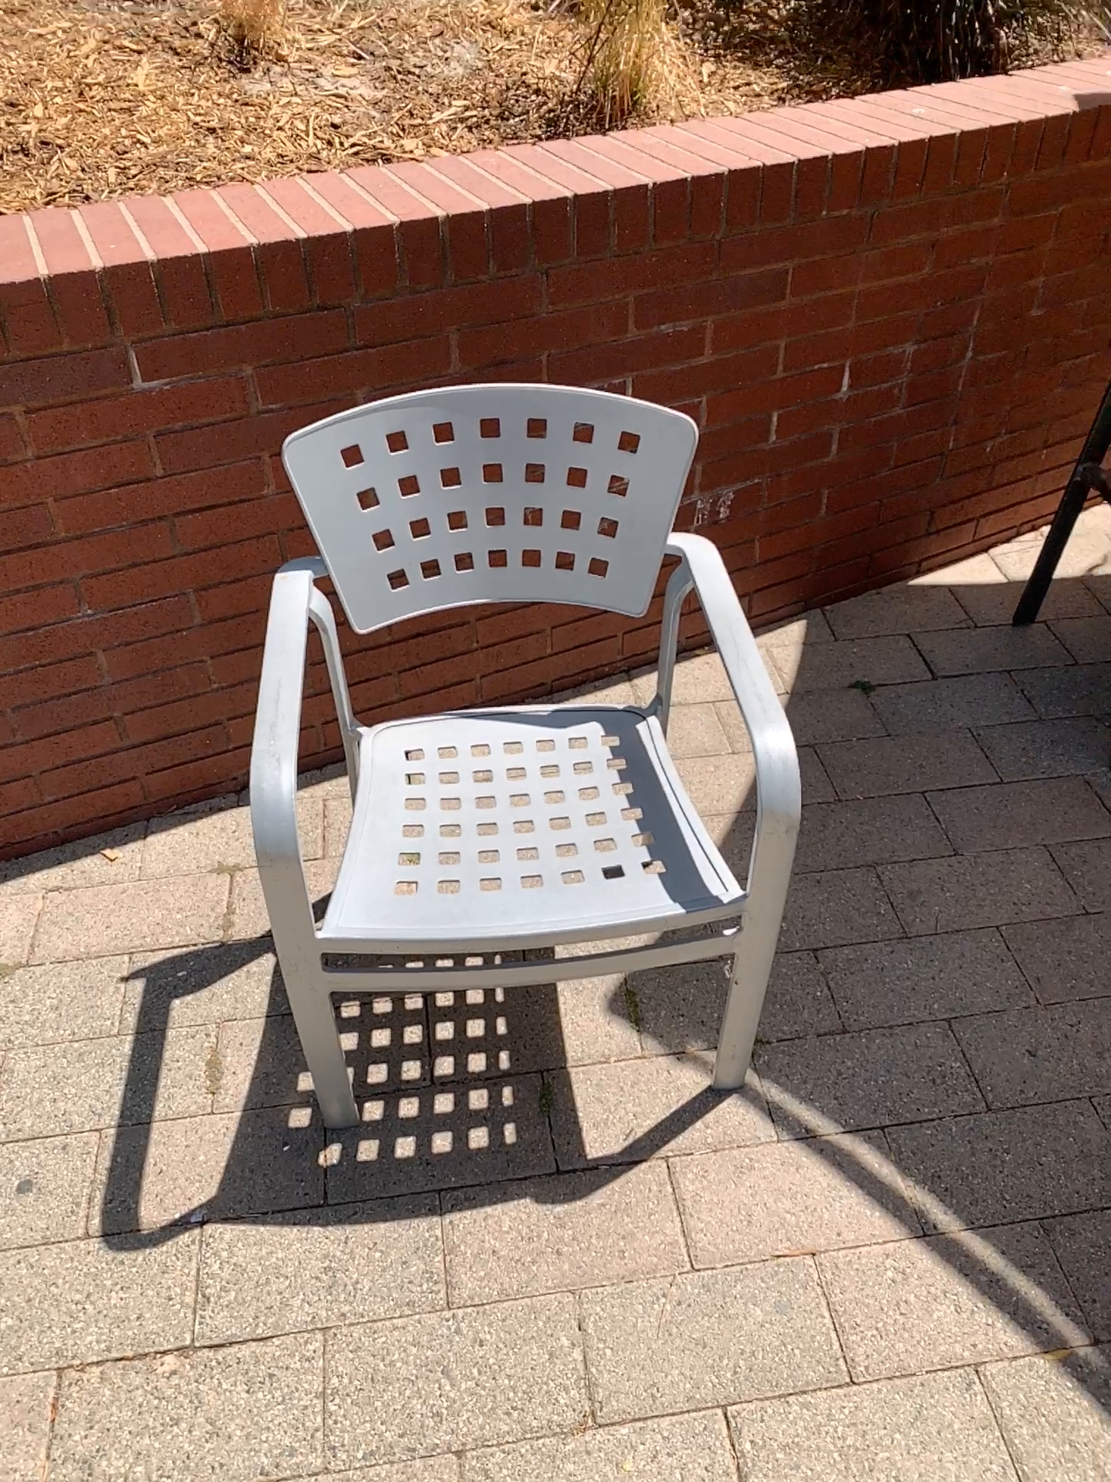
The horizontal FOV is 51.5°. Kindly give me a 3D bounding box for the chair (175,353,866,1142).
[{"bbox_3d":[-0.056,0.014,1.341,0.559,0.718,0.492,-6,41,-6],"label":"chair"}]
